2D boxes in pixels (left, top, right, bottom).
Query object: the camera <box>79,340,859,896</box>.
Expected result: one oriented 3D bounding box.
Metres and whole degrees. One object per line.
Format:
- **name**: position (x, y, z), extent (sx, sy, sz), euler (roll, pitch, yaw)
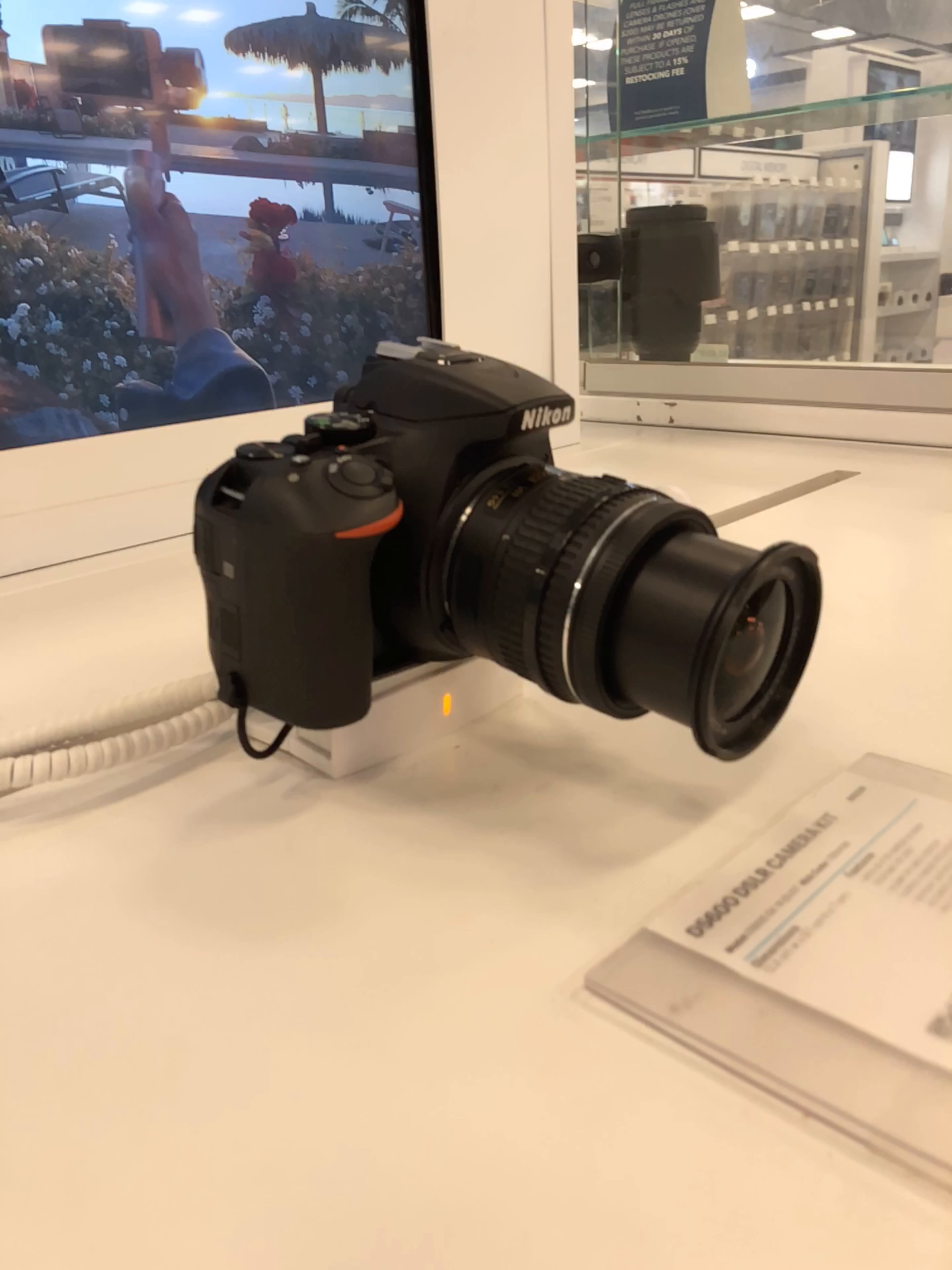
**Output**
- **camera**: position (-0.009, -0.027, 0.317), extent (0.190, 0.090, 0.120), euler (21, 29, 36)
